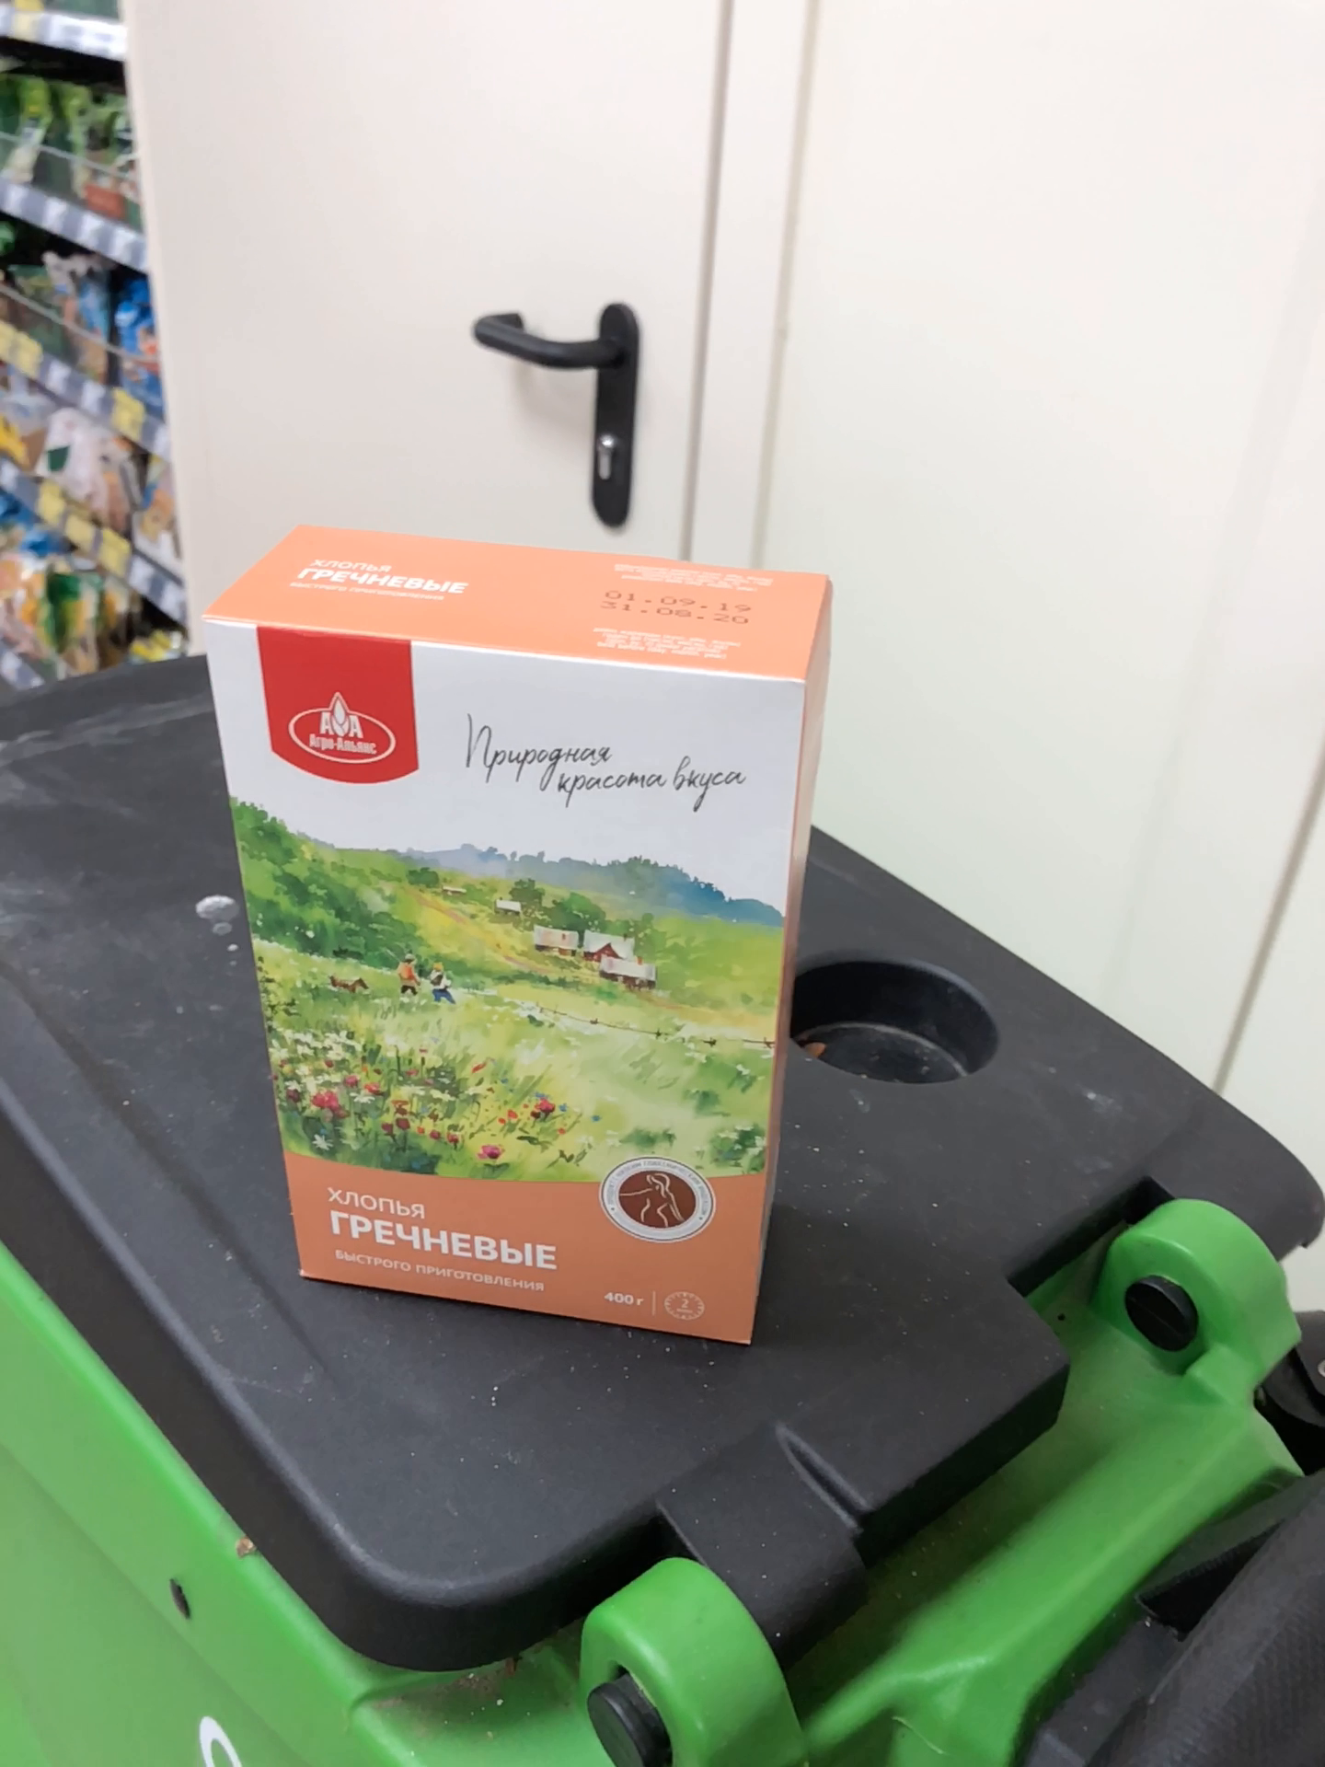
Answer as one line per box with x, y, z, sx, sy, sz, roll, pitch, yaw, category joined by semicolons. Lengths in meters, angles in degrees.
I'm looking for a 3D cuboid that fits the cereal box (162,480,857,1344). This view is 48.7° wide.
-0.033;0.015;0.377;0.140;0.209;0.060;7;34;7;cereal box
